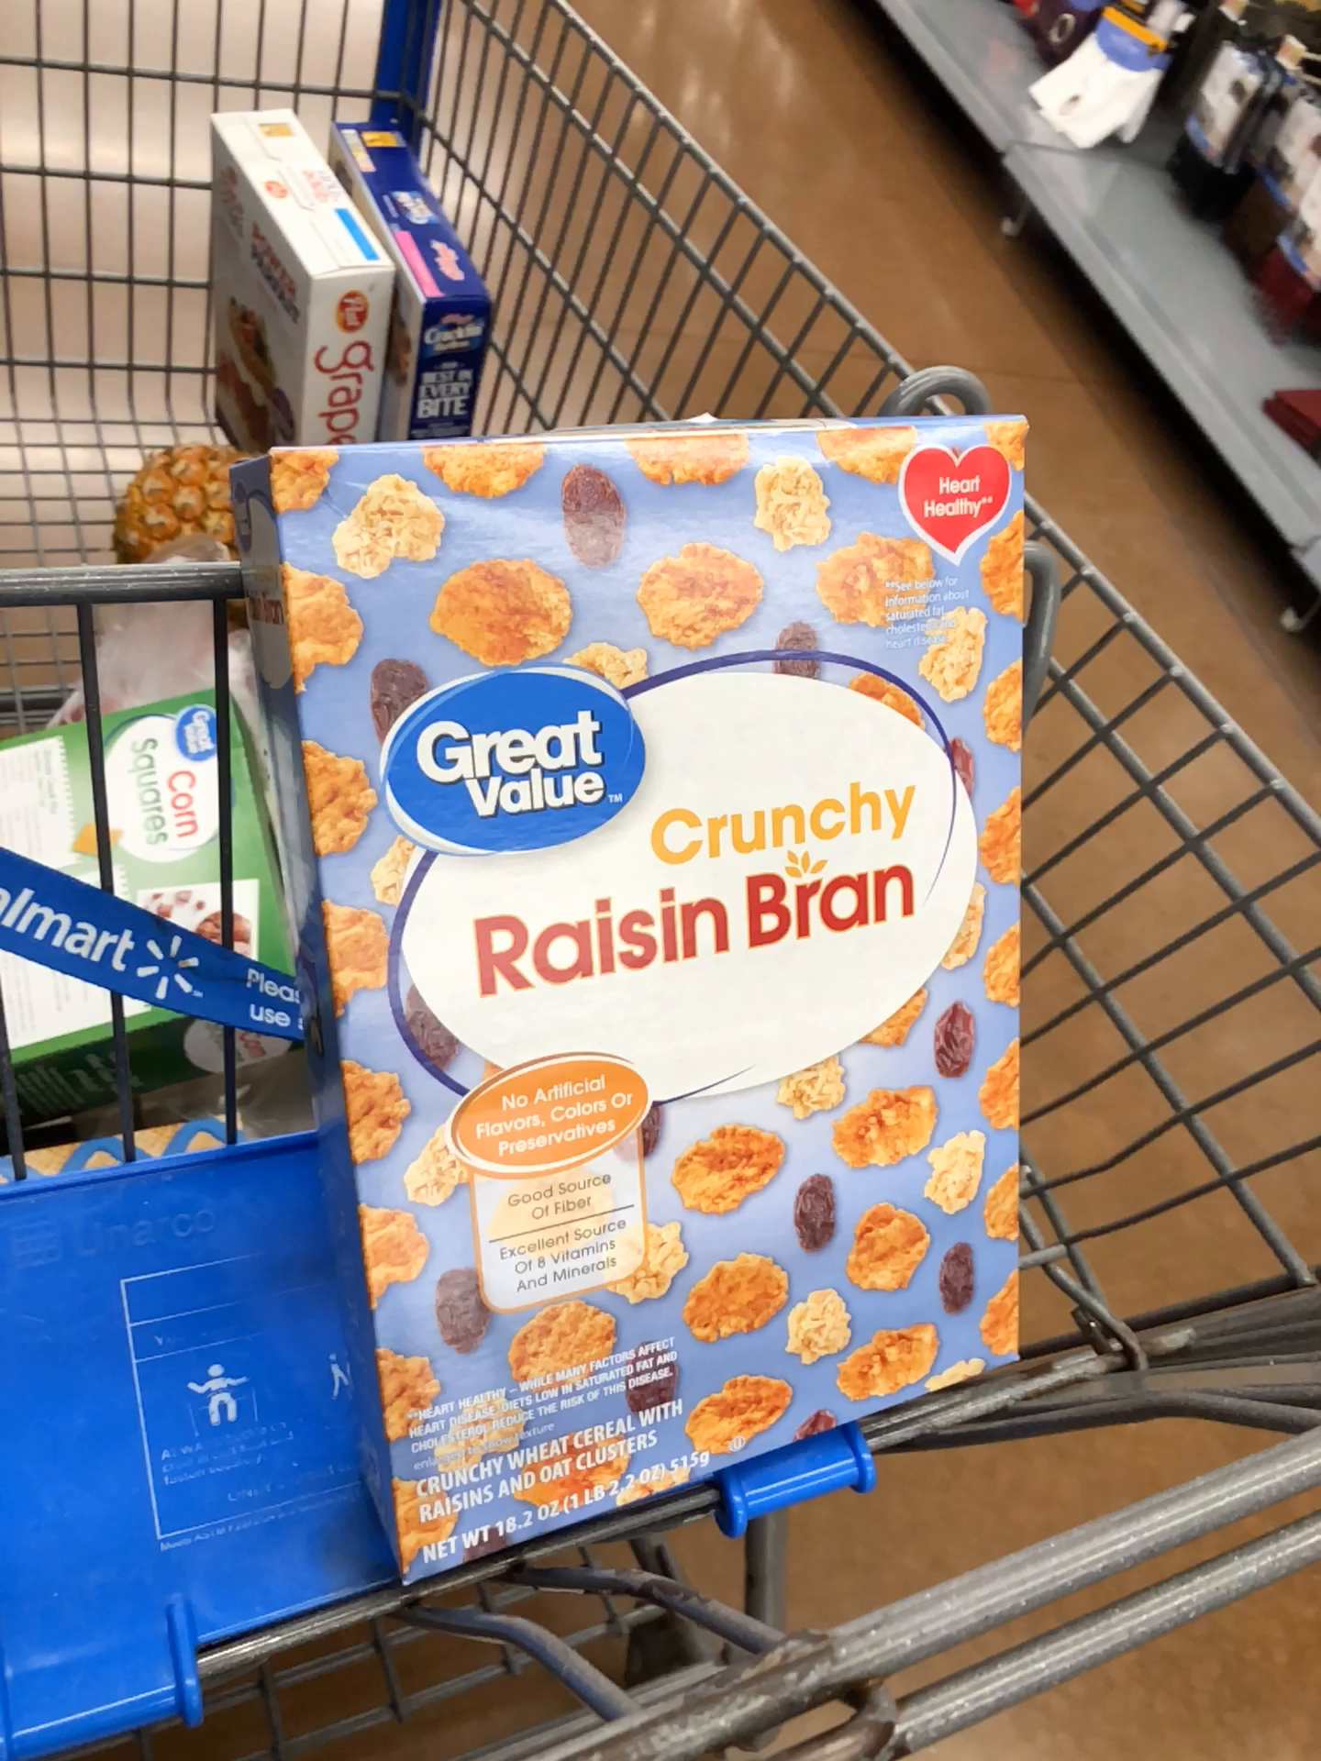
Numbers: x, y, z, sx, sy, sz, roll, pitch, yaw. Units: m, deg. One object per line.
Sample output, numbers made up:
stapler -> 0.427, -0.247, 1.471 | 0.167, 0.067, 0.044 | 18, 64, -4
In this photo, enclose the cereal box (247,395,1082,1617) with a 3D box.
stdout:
cereal box -> 0.014, 0.020, 0.397 | 0.200, 0.280, 0.070 | -10, 14, -27
